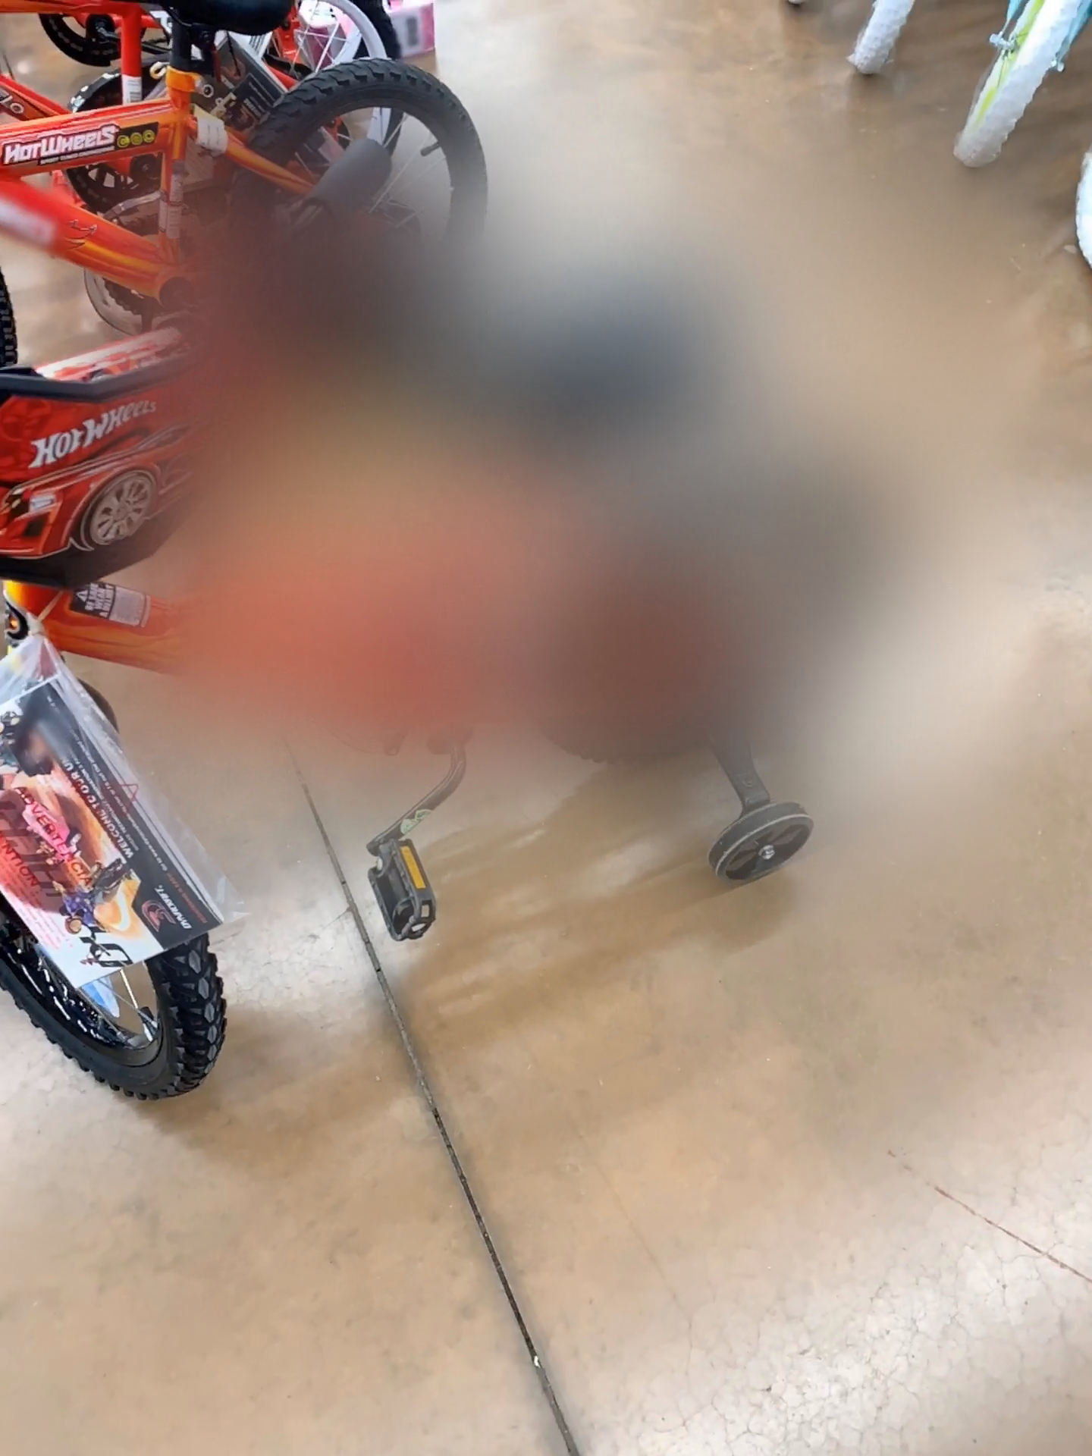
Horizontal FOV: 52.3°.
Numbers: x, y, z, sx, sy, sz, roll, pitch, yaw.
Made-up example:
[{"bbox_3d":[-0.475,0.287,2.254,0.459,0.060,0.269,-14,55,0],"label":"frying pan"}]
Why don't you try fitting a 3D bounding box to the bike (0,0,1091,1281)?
[{"bbox_3d":[-0.043,-0.090,0.967,0.740,0.824,0.511,-33,60,-14],"label":"bike"}]
